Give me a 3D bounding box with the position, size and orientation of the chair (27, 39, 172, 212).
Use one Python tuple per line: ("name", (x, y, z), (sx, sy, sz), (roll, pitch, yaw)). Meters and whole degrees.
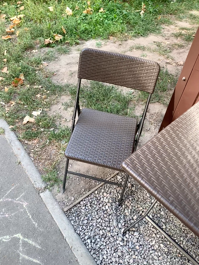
("chair", (0.035, -0.009, 1.050), (0.470, 0.687, 0.472), (11, 48, 8))
